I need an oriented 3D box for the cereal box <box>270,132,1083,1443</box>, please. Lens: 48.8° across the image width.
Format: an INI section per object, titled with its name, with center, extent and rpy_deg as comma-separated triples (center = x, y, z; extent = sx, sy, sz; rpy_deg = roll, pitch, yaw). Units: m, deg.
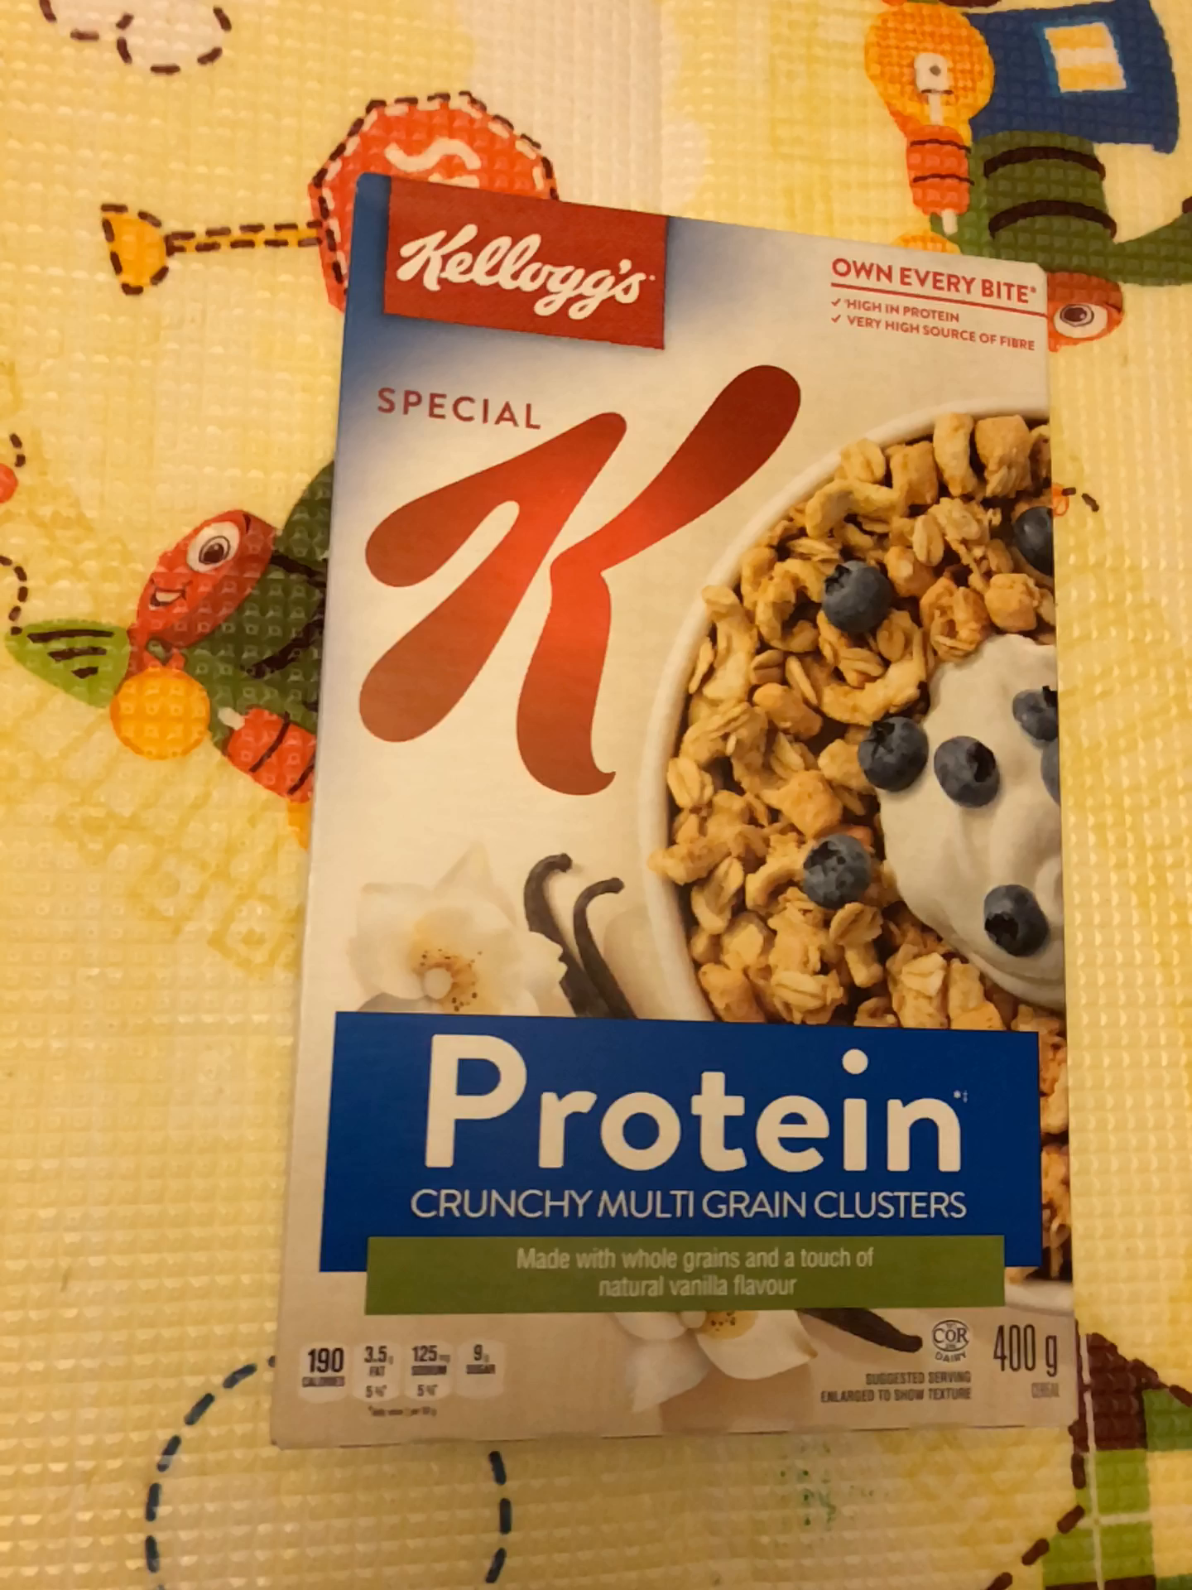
[cereal box]
center = 0.020, 0.000, 0.294
extent = 0.160, 0.060, 0.250
rpy_deg = 5, 82, -13
